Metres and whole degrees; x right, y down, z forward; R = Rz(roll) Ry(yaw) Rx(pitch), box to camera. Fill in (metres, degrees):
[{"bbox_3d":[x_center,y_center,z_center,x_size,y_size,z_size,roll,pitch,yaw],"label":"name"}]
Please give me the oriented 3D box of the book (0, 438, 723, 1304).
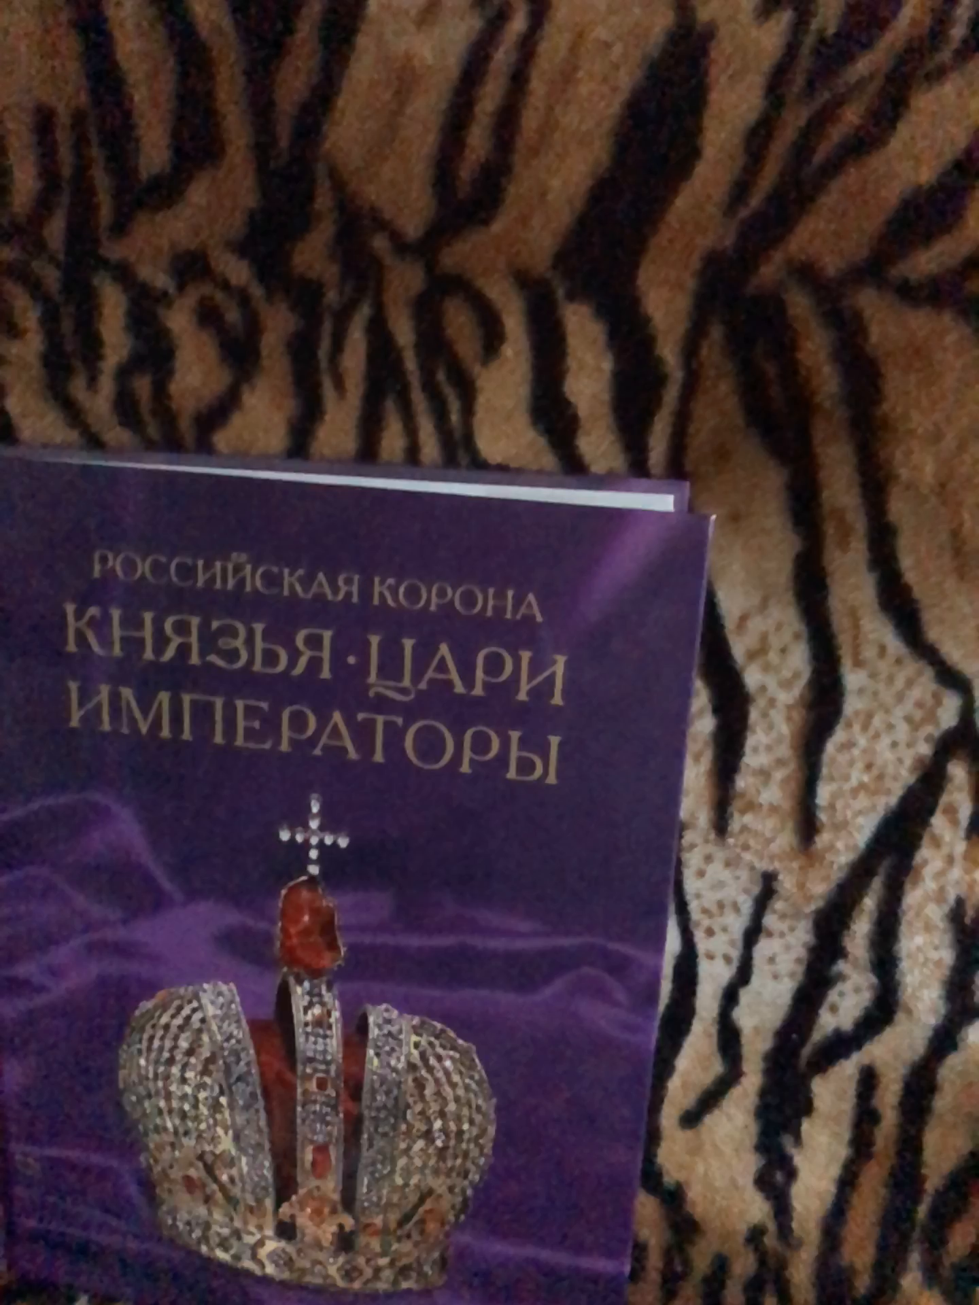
[{"bbox_3d":[-0.058,0.085,0.329,0.223,0.279,0.035,6,16,9],"label":"book"}]
